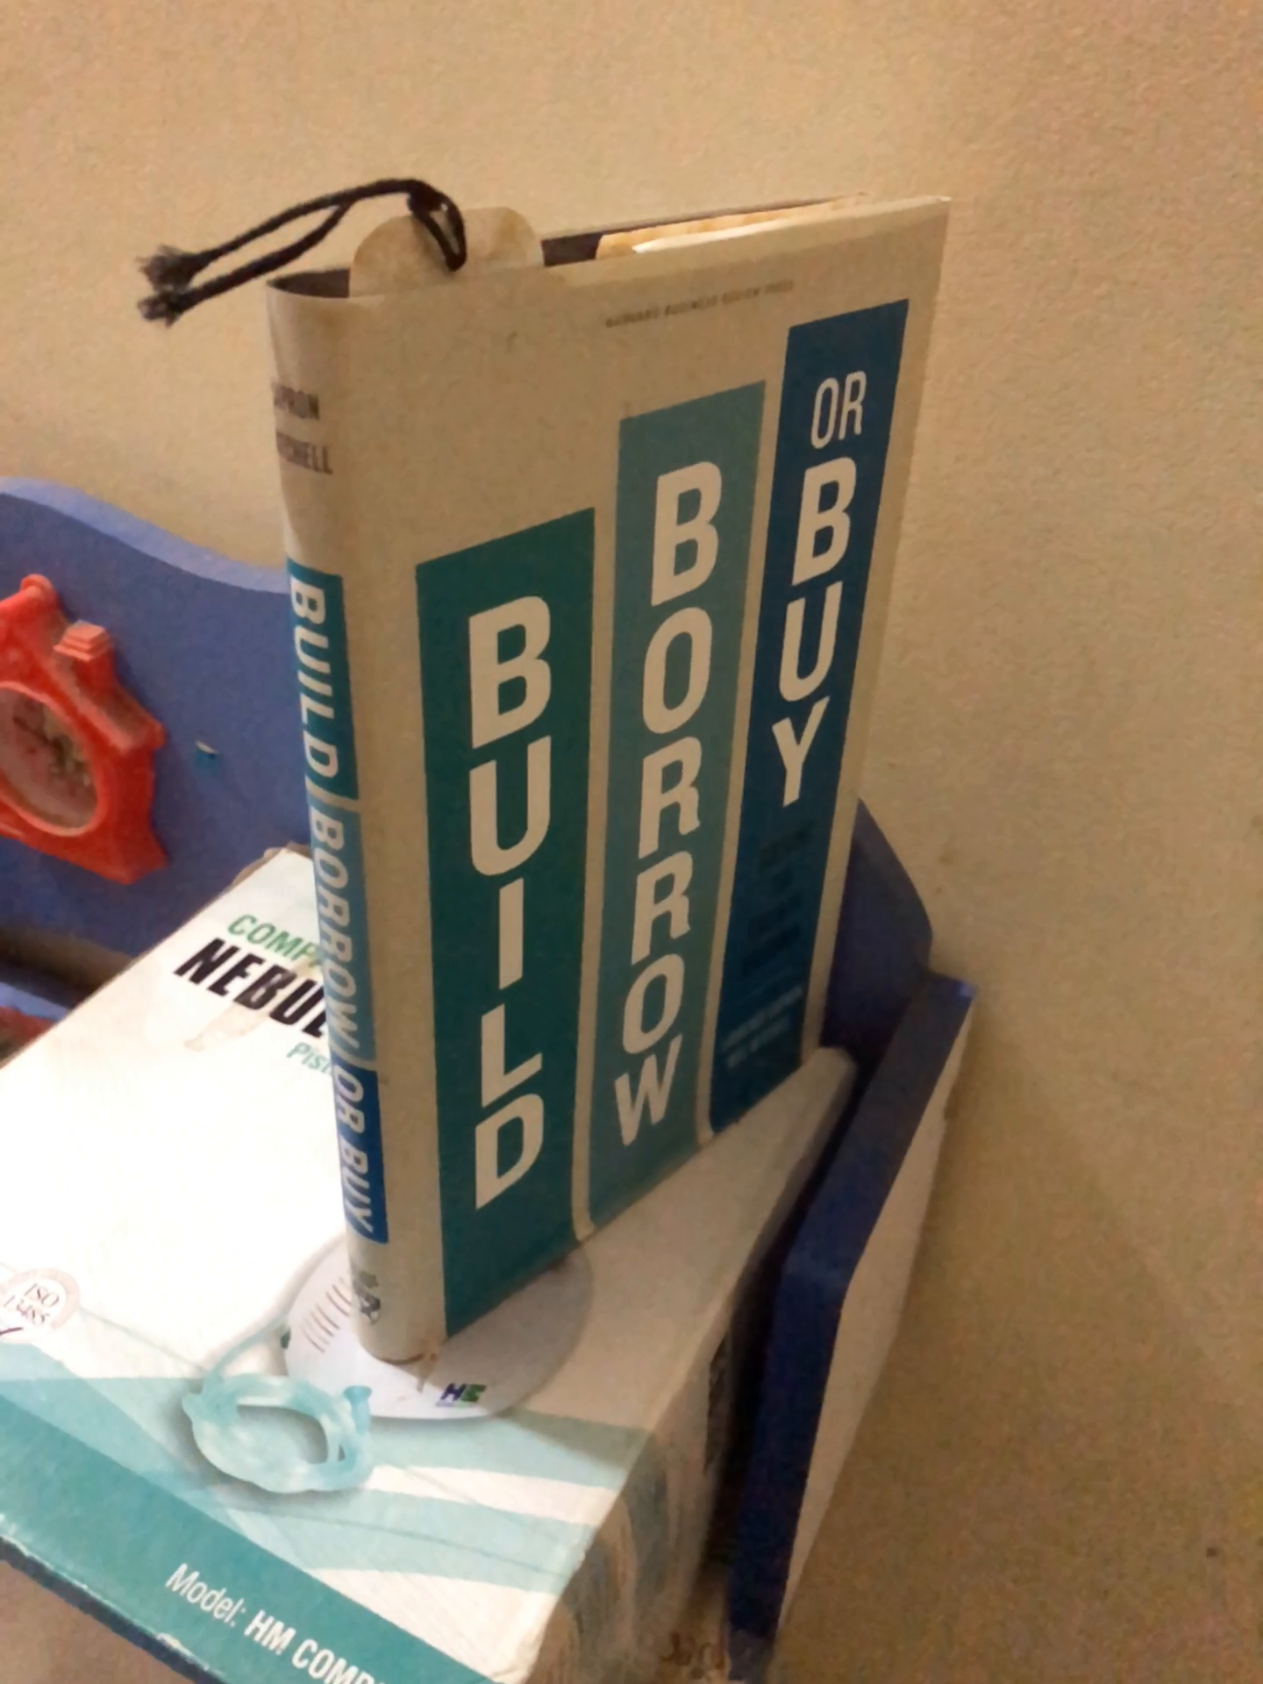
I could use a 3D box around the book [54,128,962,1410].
[{"bbox_3d":[-0.010,-0.017,0.314,0.040,0.239,0.181,28,41,35],"label":"book"}]
